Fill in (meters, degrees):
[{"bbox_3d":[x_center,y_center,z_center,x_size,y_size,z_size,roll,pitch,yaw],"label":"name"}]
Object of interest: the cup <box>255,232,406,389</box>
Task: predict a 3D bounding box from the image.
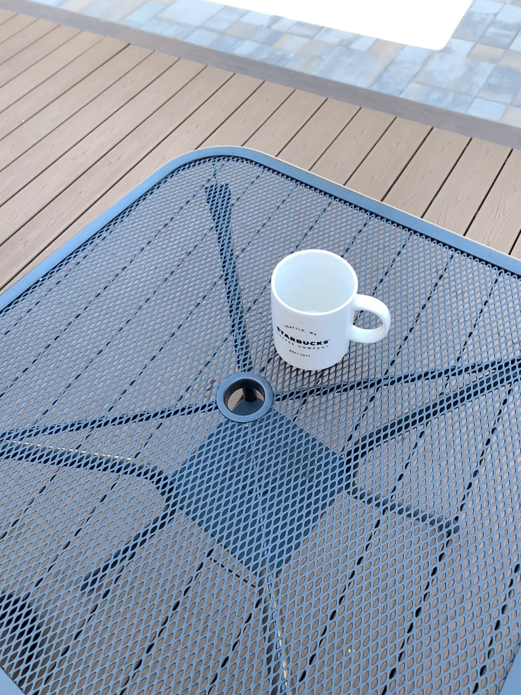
[{"bbox_3d":[0.074,-0.039,0.571,0.130,0.110,0.100,12,59,12],"label":"cup"}]
